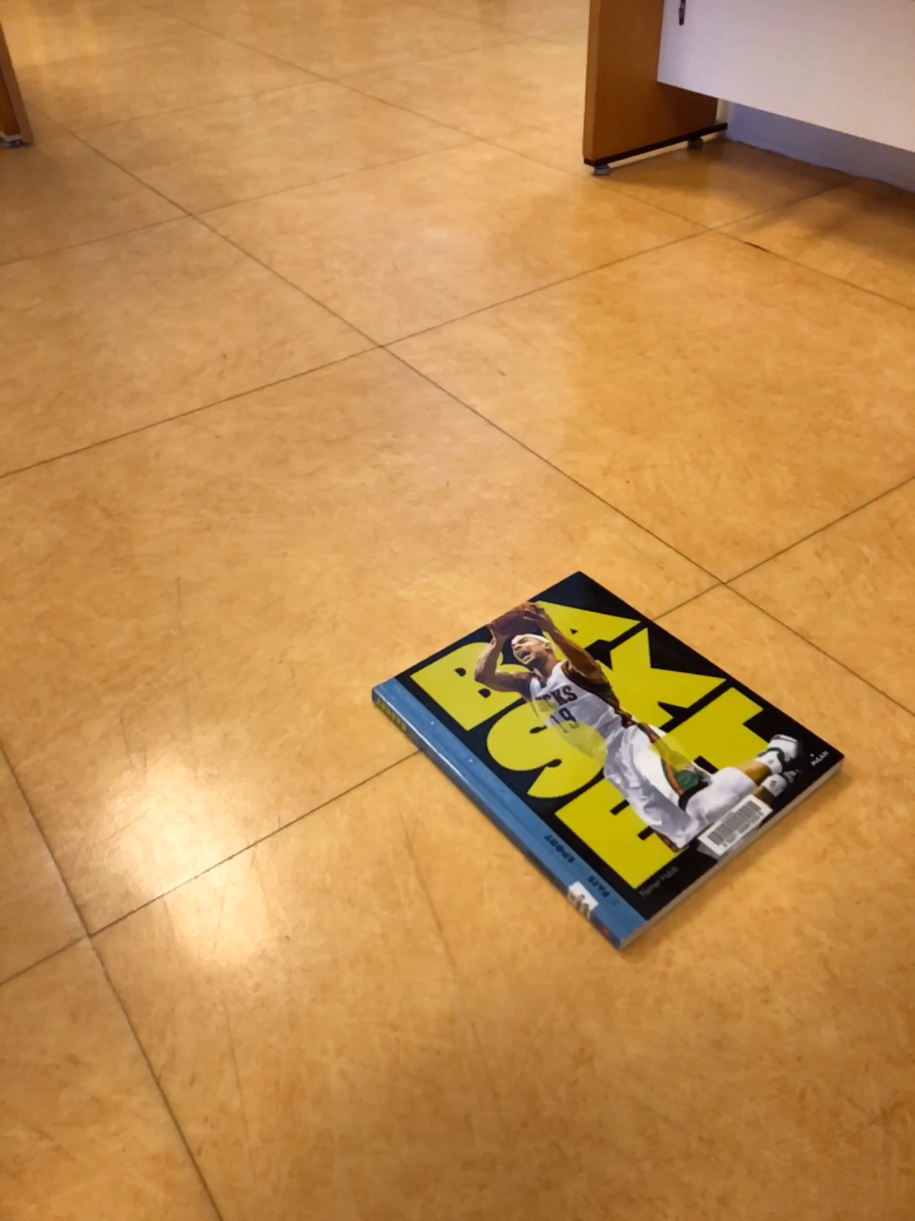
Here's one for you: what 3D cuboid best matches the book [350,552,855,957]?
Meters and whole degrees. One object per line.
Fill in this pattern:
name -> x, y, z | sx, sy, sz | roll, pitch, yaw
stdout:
book -> 0.084, 0.068, 0.634 | 0.201, 0.020, 0.245 | -29, 47, -27
